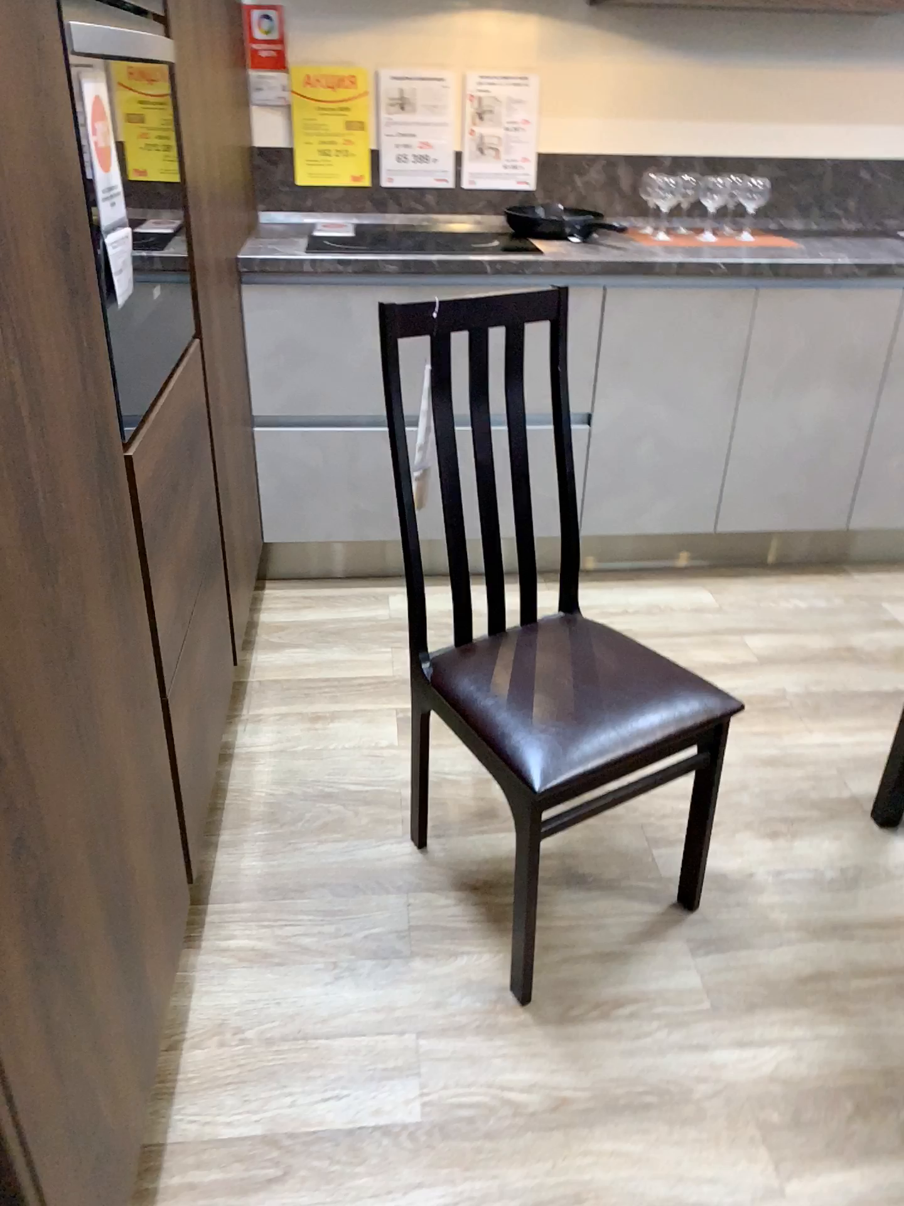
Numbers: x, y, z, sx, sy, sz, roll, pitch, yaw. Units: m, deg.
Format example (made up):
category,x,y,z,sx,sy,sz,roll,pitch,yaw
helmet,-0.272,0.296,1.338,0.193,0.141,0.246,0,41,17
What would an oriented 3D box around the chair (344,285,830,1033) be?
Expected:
category,x,y,z,sx,sy,sz,roll,pitch,yaw
chair,0.151,0.069,1.509,0.431,1.014,0.522,-16,33,-29
